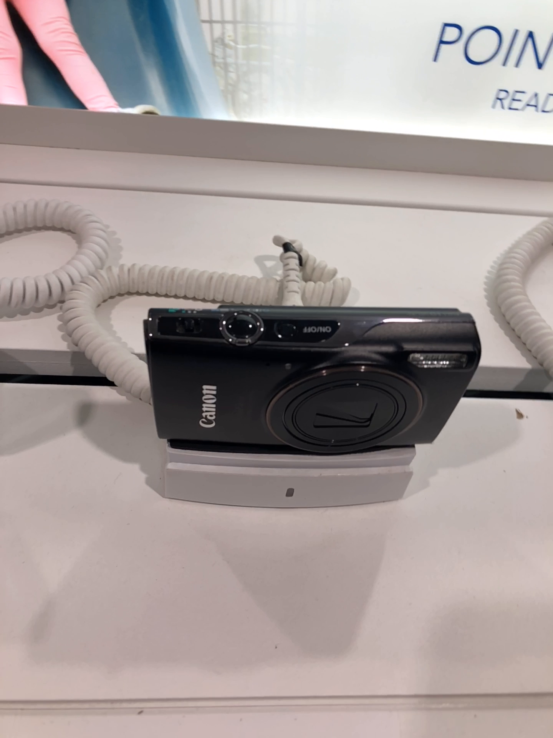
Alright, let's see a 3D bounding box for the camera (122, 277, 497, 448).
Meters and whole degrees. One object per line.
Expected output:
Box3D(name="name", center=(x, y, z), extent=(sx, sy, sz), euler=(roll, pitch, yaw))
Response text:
Box3D(name="camera", center=(0.008, 0.000, 0.213), extent=(0.113, 0.057, 0.026), euler=(1, 48, -6))
